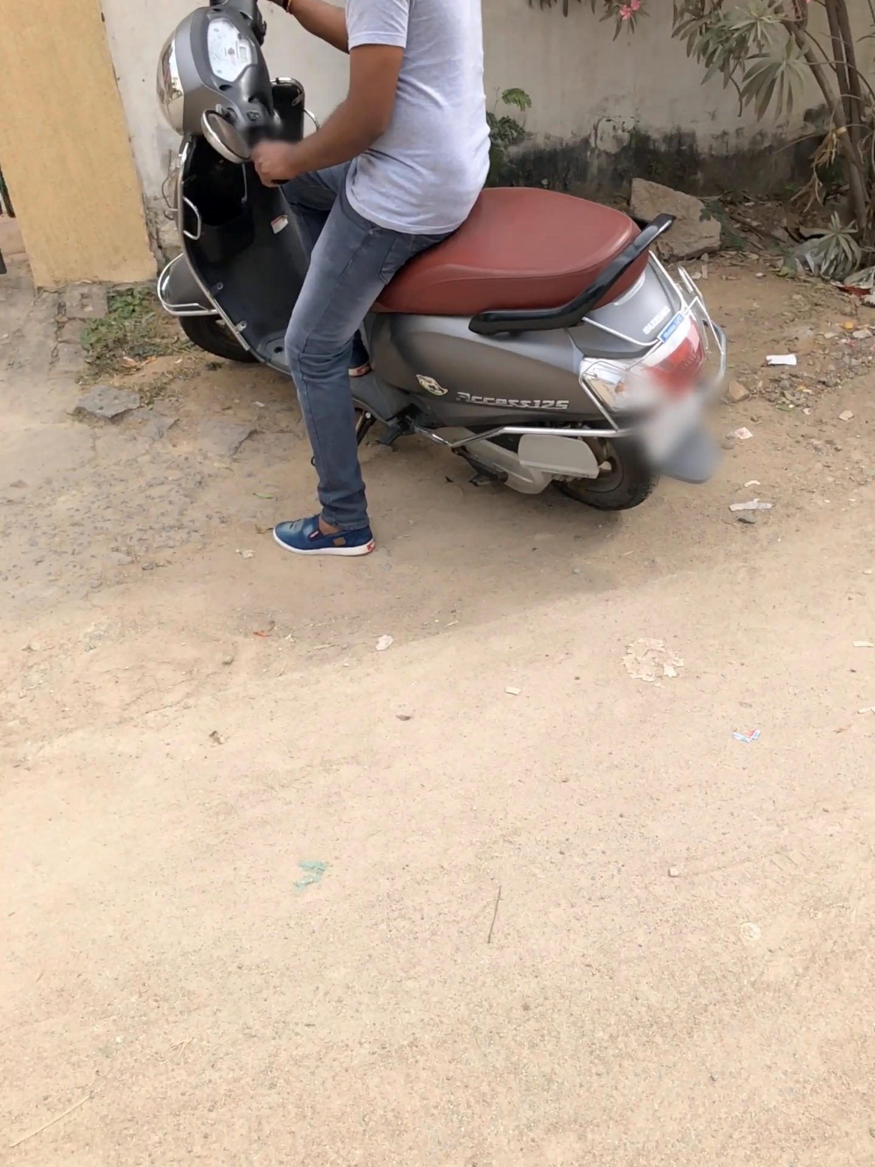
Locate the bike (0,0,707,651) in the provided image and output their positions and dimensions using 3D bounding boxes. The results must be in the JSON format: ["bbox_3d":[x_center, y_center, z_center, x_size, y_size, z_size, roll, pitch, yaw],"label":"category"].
[{"bbox_3d":[-0.283,-0.766,2.199,1.497,1.195,0.614,22,42,27],"label":"bike"}]
